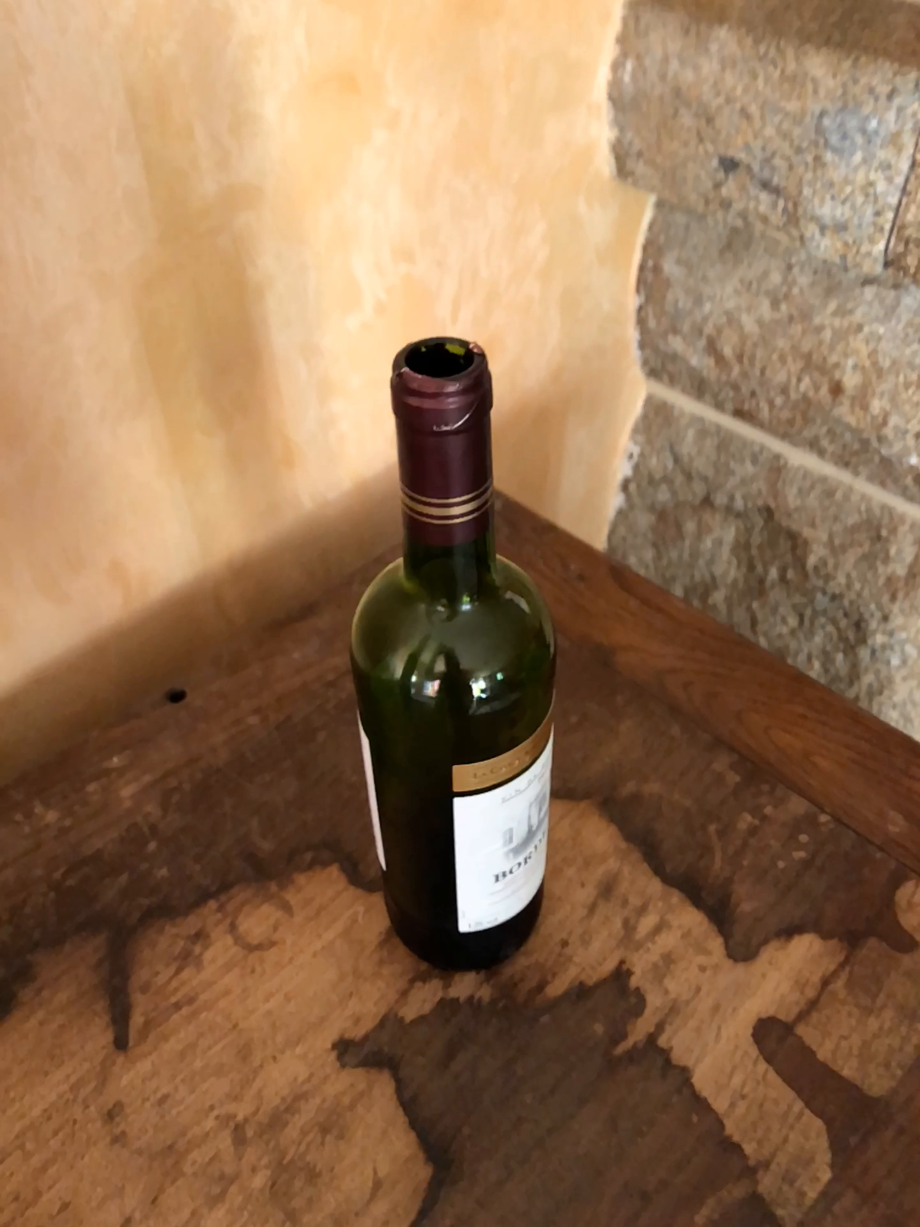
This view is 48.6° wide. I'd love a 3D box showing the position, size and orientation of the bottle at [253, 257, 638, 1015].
[{"bbox_3d":[0.001,0.030,0.383,0.080,0.288,0.091,14,45,15],"label":"bottle"}]
